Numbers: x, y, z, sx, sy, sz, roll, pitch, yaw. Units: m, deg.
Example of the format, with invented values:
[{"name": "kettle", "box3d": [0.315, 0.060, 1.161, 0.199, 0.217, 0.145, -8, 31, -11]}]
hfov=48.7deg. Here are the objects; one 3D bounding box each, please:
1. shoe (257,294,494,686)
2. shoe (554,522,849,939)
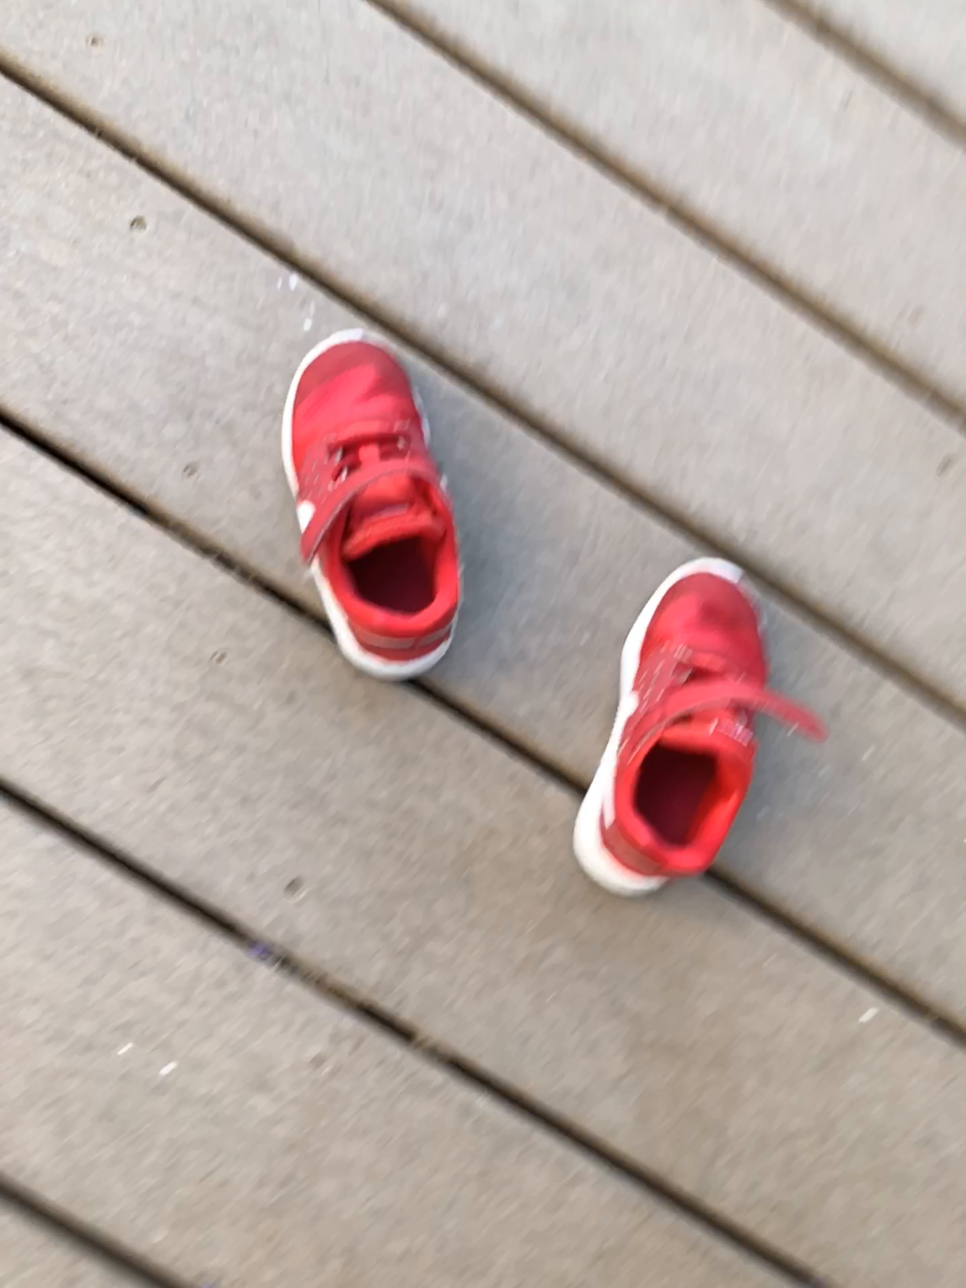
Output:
[{"name": "shoe", "box3d": [-0.051, -0.065, 0.478, 0.073, 0.069, 0.153, -10, 85, -12]}, {"name": "shoe", "box3d": [0.098, 0.039, 0.490, 0.069, 0.069, 0.164, 20, 80, -7]}]
